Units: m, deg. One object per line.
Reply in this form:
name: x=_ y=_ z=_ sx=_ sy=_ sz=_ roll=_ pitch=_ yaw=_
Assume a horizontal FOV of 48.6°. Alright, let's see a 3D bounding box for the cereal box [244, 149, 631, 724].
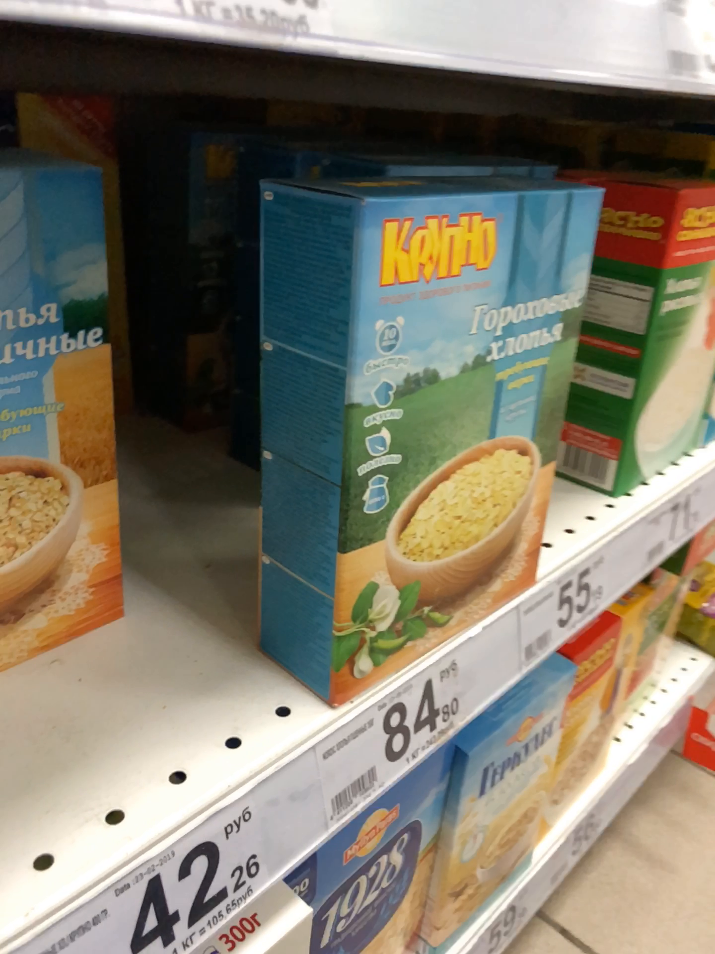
cereal box: x=0.033 y=-0.026 z=0.329 sx=0.050 sy=0.199 sz=0.161 roll=25 pitch=32 yaw=39
